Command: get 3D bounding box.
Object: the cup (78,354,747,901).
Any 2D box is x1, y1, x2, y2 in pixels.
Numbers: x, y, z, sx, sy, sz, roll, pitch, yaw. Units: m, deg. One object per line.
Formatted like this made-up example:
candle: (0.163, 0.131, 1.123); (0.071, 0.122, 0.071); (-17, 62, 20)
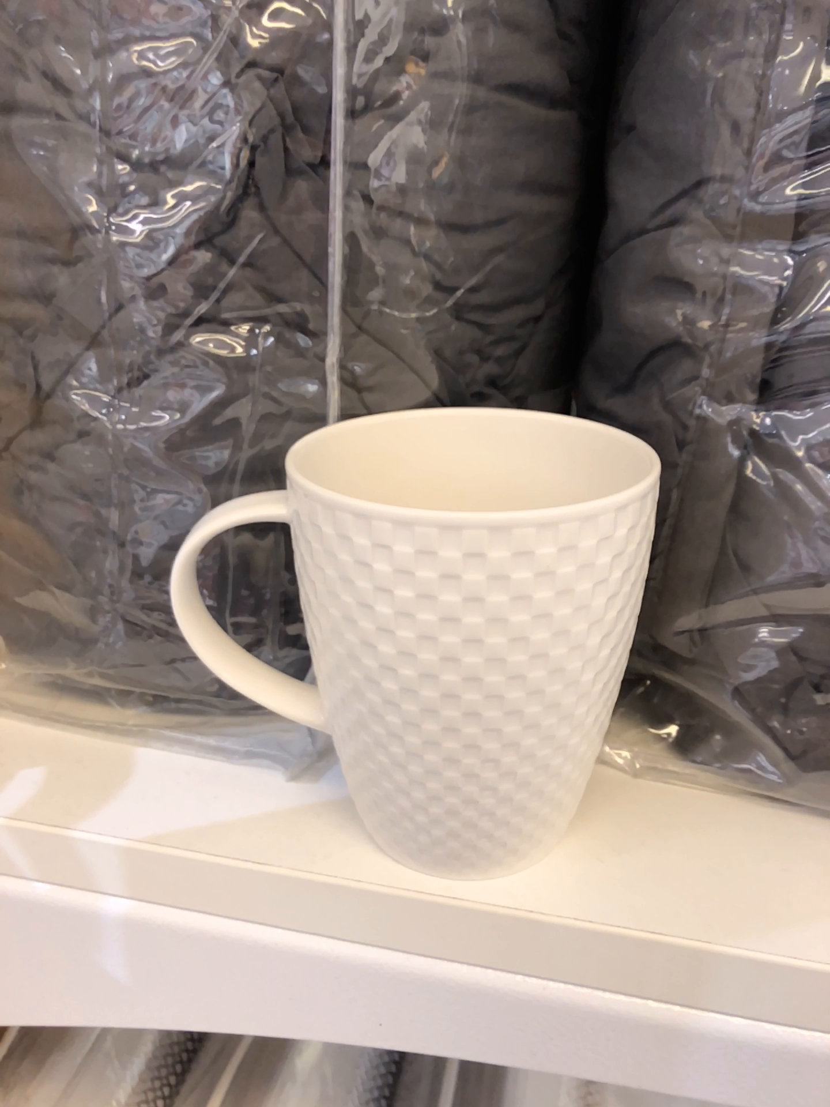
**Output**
cup: (-0.003, 0.009, 0.207); (0.110, 0.089, 0.080); (-1, 23, -6)
